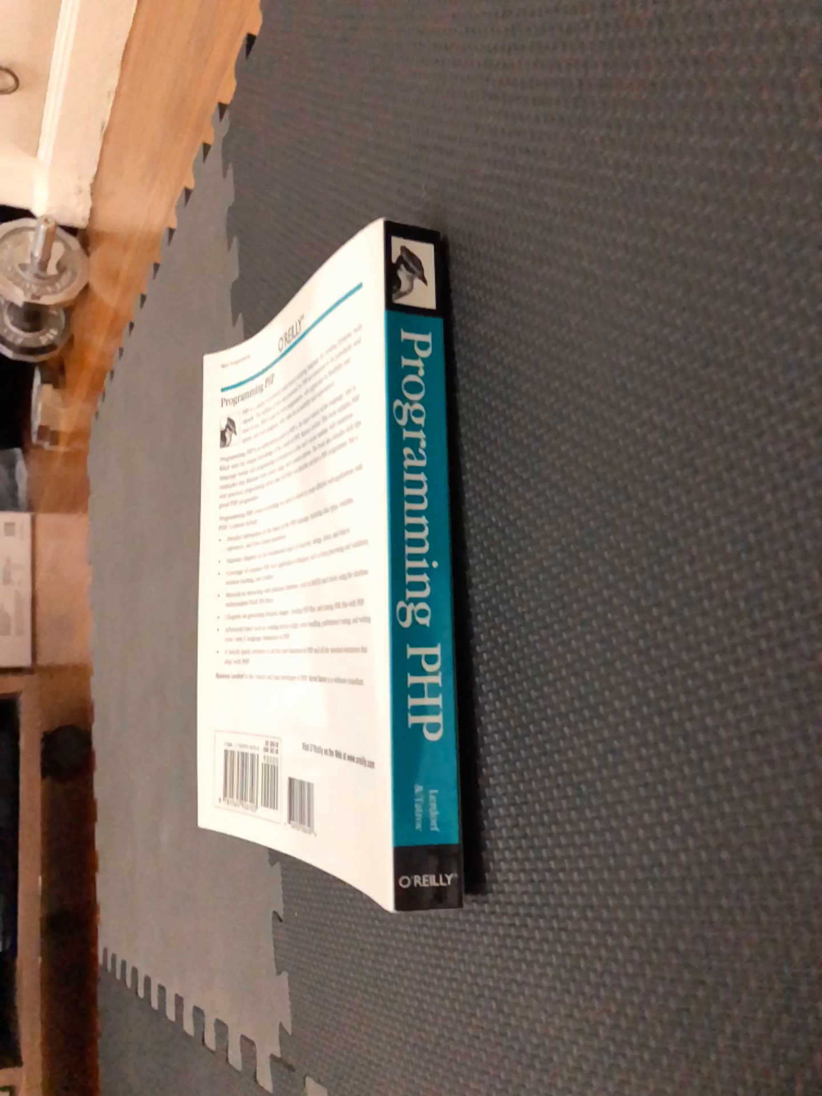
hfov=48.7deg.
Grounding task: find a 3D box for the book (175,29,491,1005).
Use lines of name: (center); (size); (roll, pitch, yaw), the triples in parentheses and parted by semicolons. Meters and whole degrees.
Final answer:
book: (-0.051, -0.005, 0.378); (0.231, 0.040, 0.290); (-13, 77, 62)
